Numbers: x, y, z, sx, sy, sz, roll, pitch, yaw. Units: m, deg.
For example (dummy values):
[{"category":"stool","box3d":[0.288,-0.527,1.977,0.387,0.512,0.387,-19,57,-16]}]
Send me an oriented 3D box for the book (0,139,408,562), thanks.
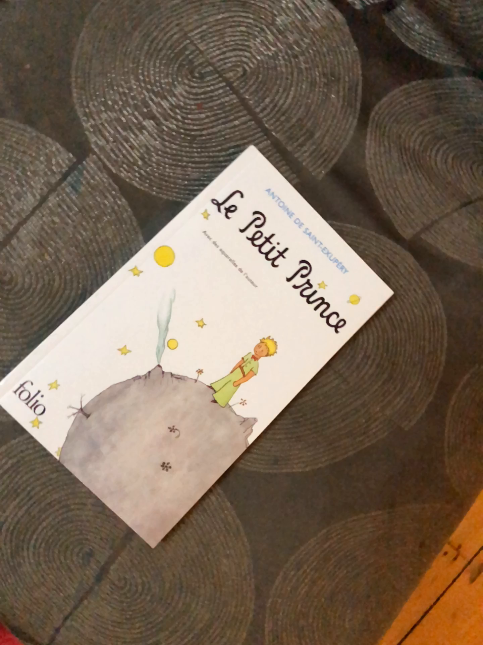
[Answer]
[{"category":"book","box3d":[-0.020,0.013,0.263,0.170,0.030,0.110,-44,97,-3]}]
